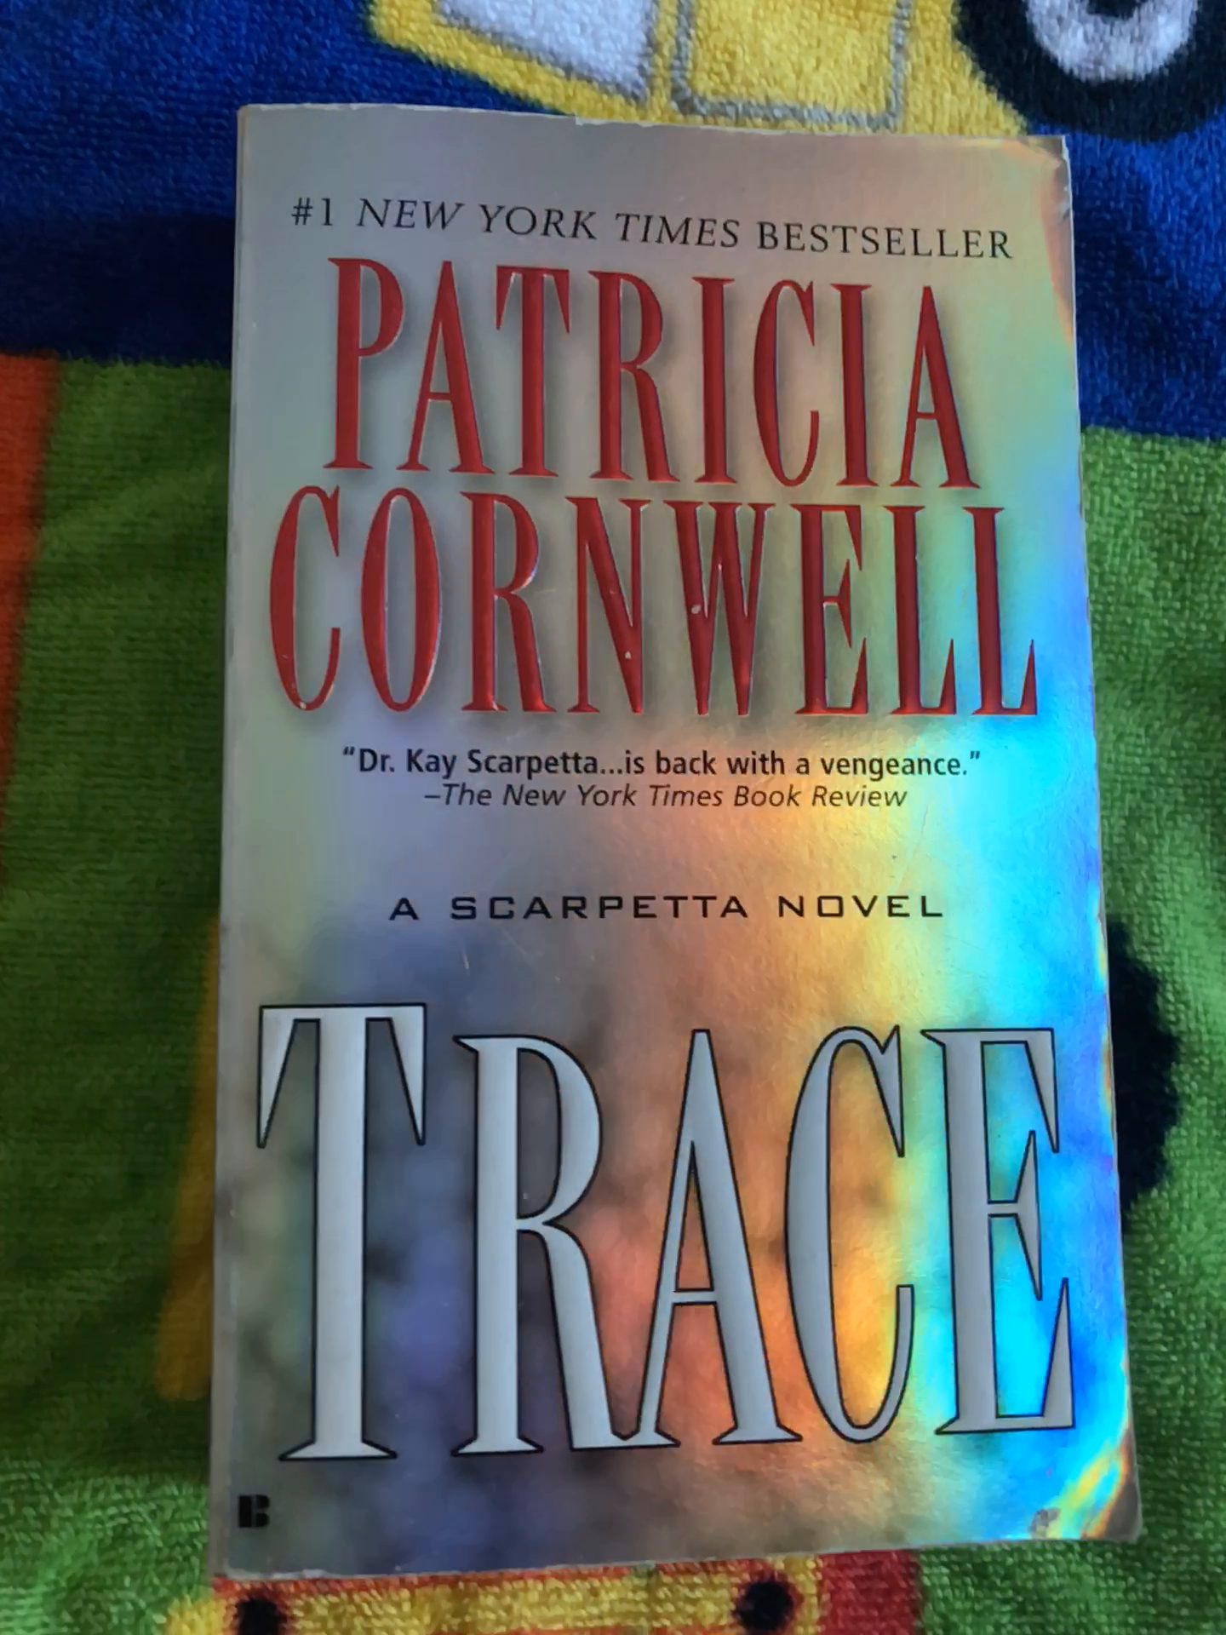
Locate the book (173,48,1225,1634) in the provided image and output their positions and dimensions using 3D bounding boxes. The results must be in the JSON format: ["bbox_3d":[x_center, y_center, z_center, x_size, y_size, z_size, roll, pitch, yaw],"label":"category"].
[{"bbox_3d":[0.014,0.001,0.176,0.120,0.040,0.180,1,83,-4],"label":"book"}]
